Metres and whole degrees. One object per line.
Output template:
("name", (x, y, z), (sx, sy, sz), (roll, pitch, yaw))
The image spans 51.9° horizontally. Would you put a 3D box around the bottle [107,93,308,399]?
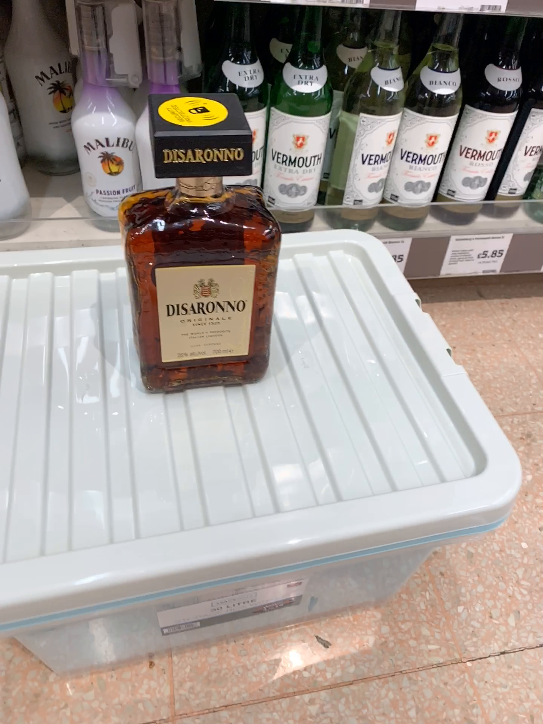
("bottle", (-0.049, -0.073, 0.405), (0.111, 0.208, 0.071), (-5, 47, -12))
